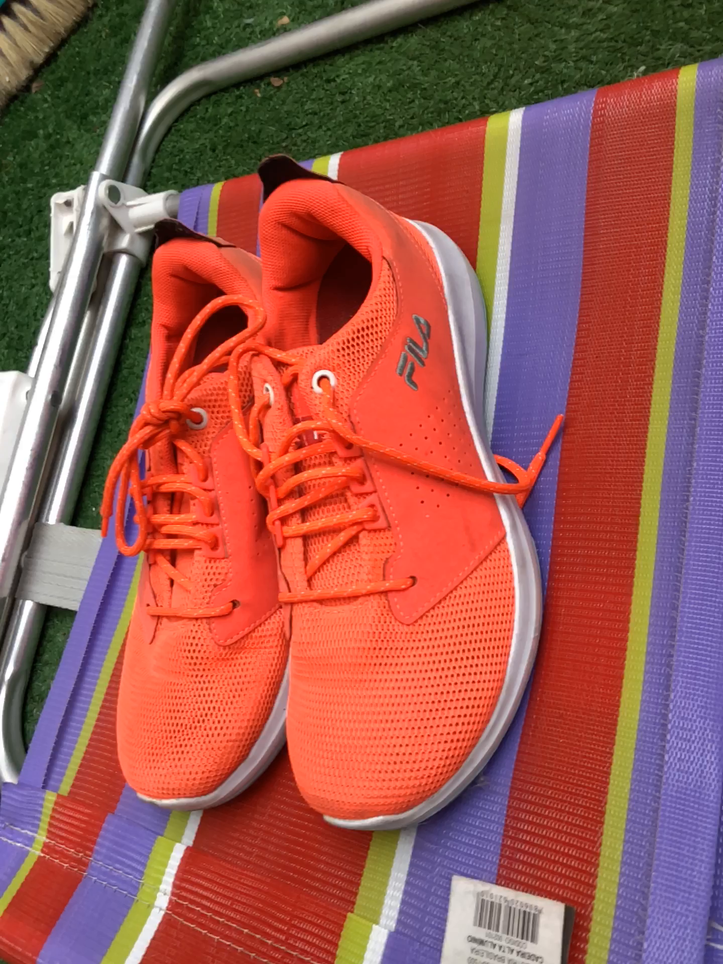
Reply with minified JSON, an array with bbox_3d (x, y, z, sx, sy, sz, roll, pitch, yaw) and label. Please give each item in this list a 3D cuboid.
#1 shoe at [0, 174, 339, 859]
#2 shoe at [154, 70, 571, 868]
[{"bbox_3d":[-0.087,0.015,0.325,0.100,0.099,0.230,-4,70,28],"label":"shoe"},{"bbox_3d":[0.005,-0.003,0.297,0.100,0.089,0.250,-11,67,32],"label":"shoe"}]
